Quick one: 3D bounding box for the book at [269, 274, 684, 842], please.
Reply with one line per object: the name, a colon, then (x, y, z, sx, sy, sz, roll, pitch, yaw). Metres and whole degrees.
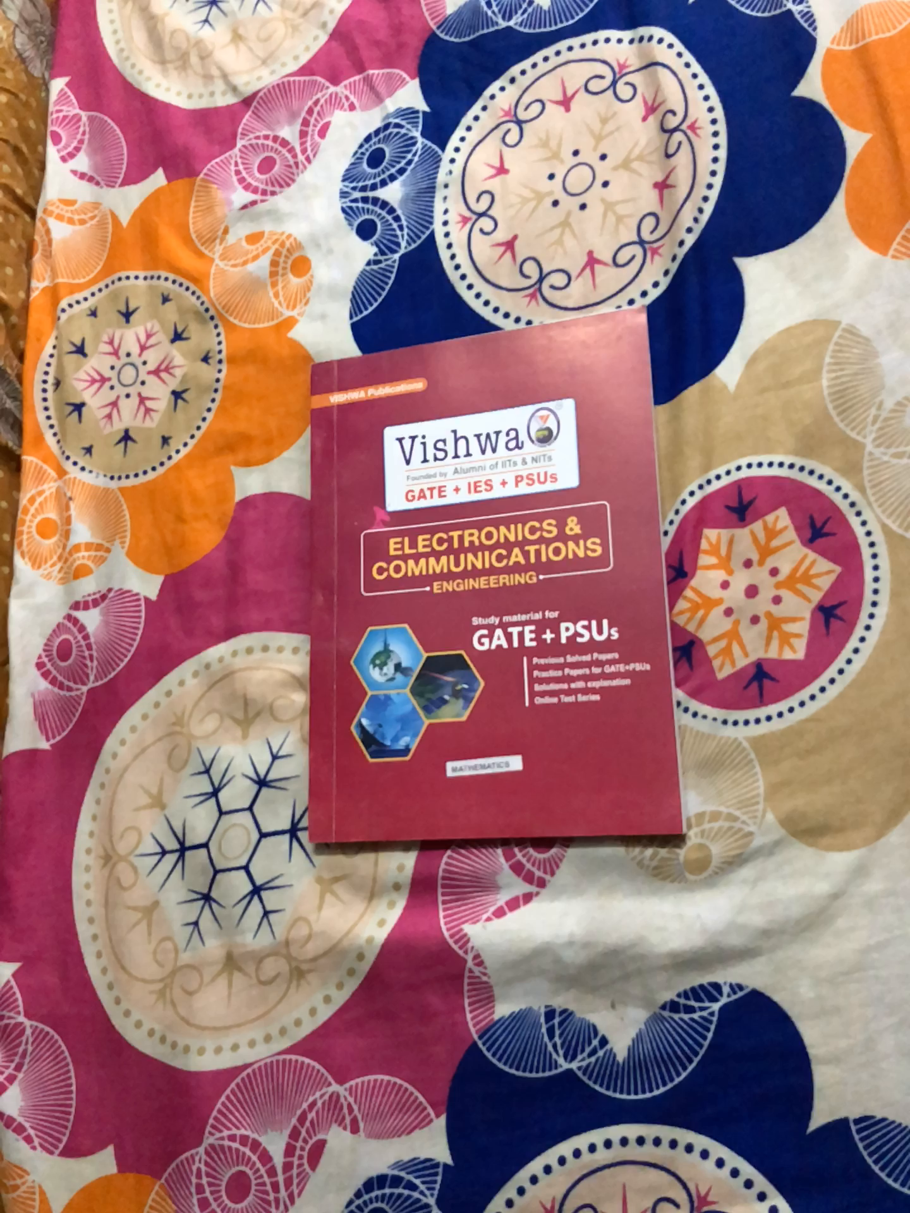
book: (0.006, -0.025, 0.564, 0.217, 0.030, 0.300, -5, 76, 16)
